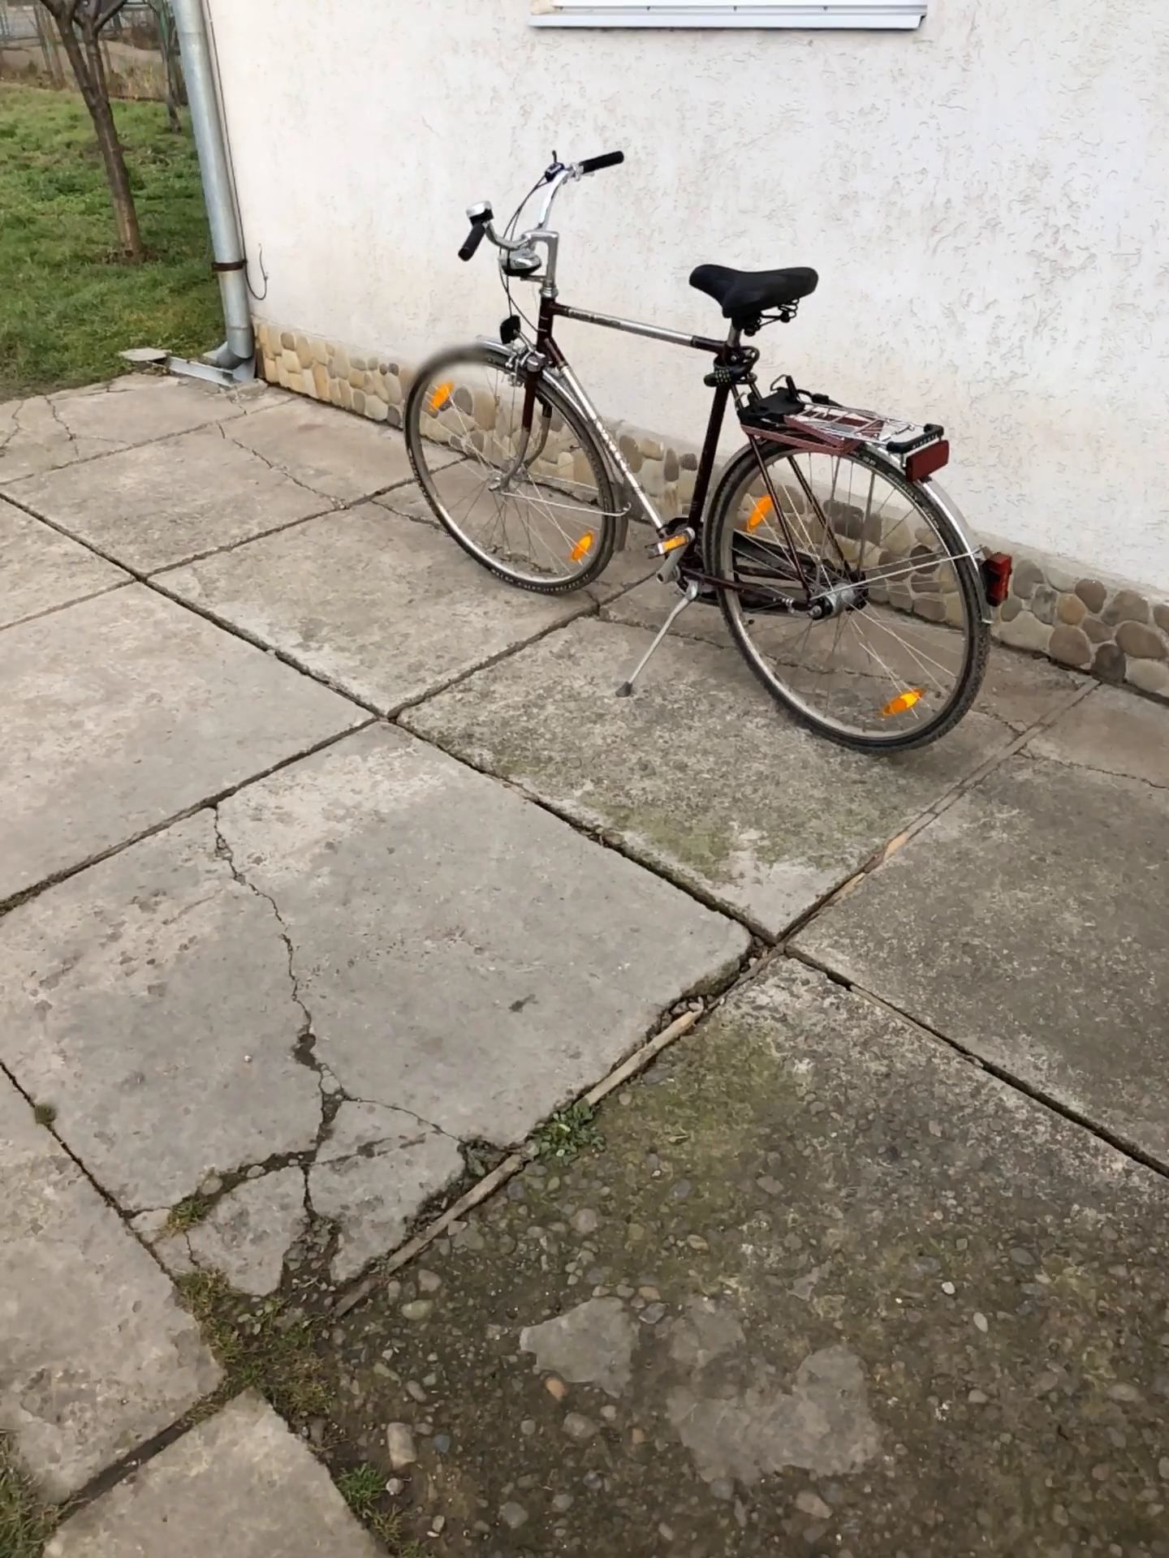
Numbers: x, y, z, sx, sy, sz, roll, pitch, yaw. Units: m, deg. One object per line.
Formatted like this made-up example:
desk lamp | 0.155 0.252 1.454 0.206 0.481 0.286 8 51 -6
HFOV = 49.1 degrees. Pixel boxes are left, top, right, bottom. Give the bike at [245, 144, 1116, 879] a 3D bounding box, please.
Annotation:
bike | 0.074 -0.696 2.758 0.598 1.054 1.716 -28 41 -35
